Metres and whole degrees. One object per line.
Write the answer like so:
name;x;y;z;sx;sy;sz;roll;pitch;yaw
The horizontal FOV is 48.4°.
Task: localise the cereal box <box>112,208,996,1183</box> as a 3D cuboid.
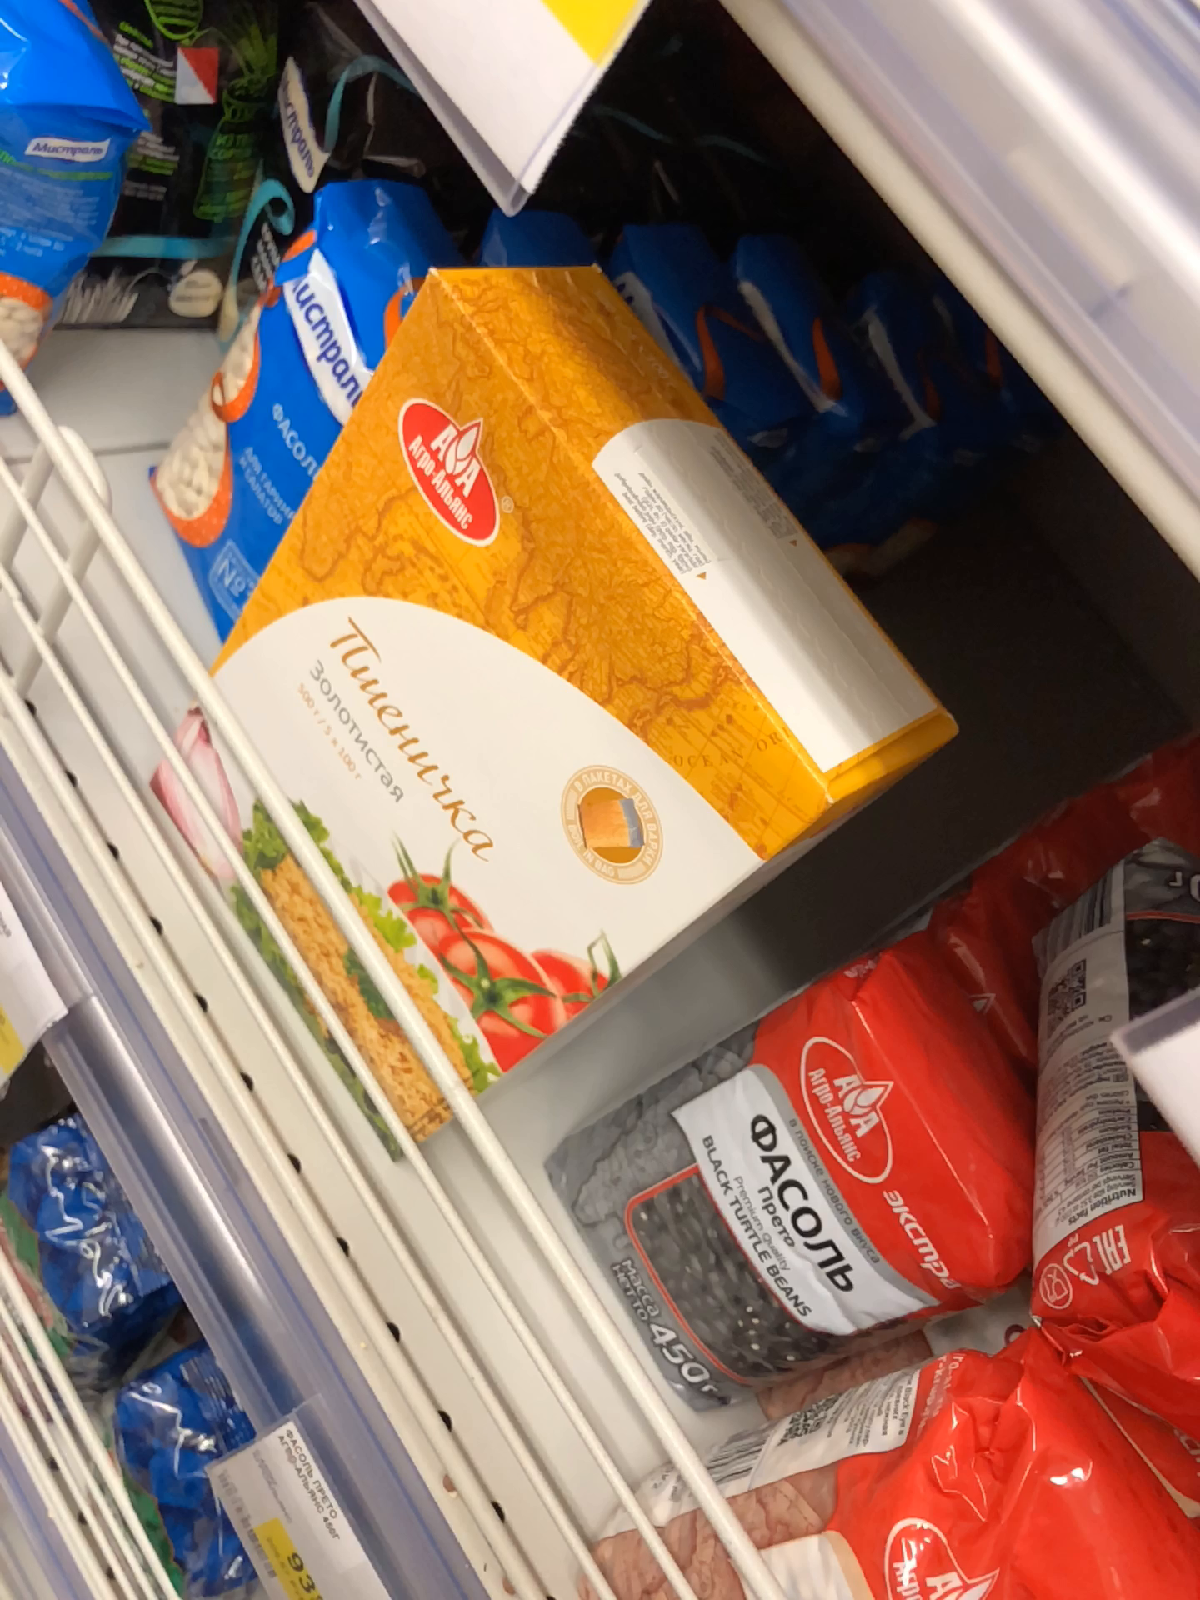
cereal box;-0.031;-0.013;0.329;0.060;0.199;0.140;-26;76;-45
